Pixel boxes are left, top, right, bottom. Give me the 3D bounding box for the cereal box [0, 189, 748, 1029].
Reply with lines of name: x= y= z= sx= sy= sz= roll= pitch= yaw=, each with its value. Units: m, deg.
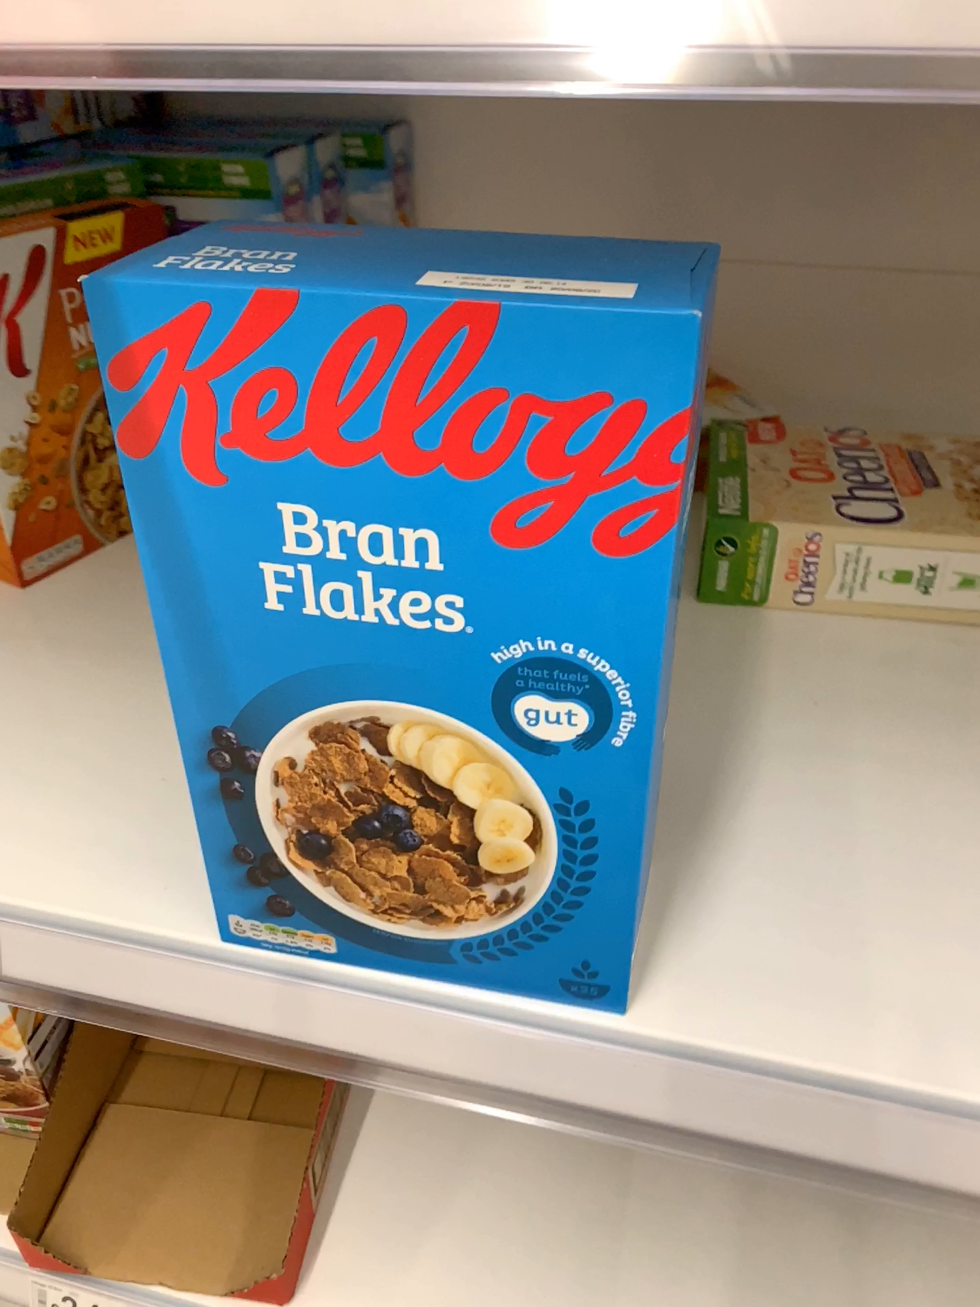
cereal box: x=-0.028 y=-0.007 z=0.389 sx=0.210 sy=0.297 sz=0.091 roll=7 pitch=34 yaw=11
